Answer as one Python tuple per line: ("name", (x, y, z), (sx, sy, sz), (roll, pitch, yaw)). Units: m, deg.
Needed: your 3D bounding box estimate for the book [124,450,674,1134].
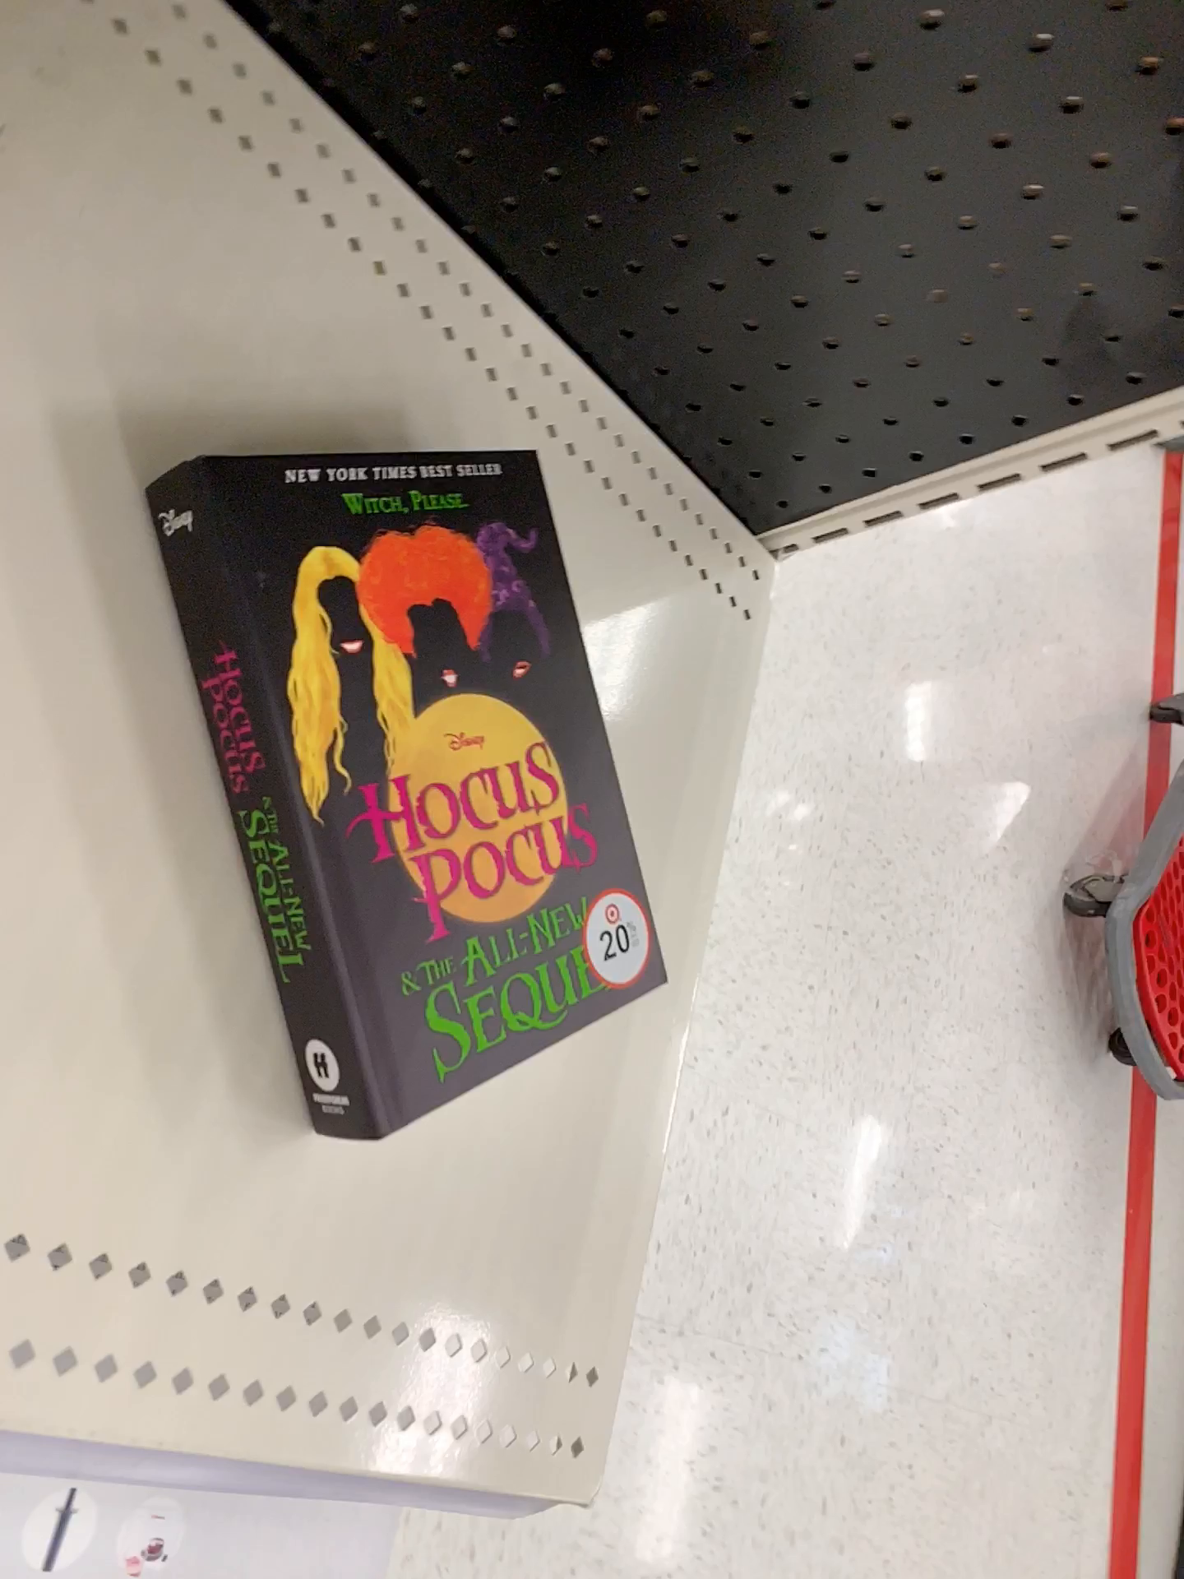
("book", (-0.059, -0.009, 0.434), (0.149, 0.050, 0.209), (-19, 97, -47))
